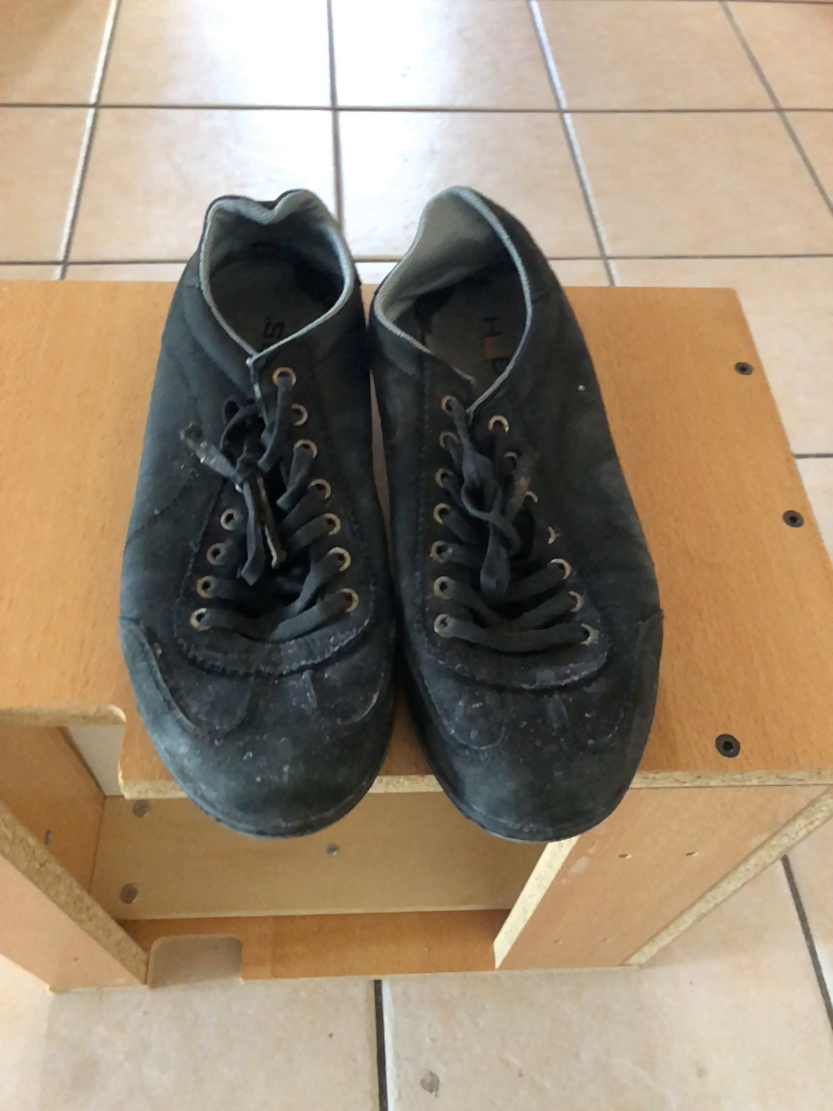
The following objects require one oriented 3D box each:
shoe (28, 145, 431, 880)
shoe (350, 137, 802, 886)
[{"bbox_3d":[-0.067,-0.039,0.375,0.110,0.089,0.302,-3,56,-6],"label":"shoe"},{"bbox_3d":[0.037,-0.040,0.378,0.110,0.089,0.312,-3,56,-6],"label":"shoe"}]
